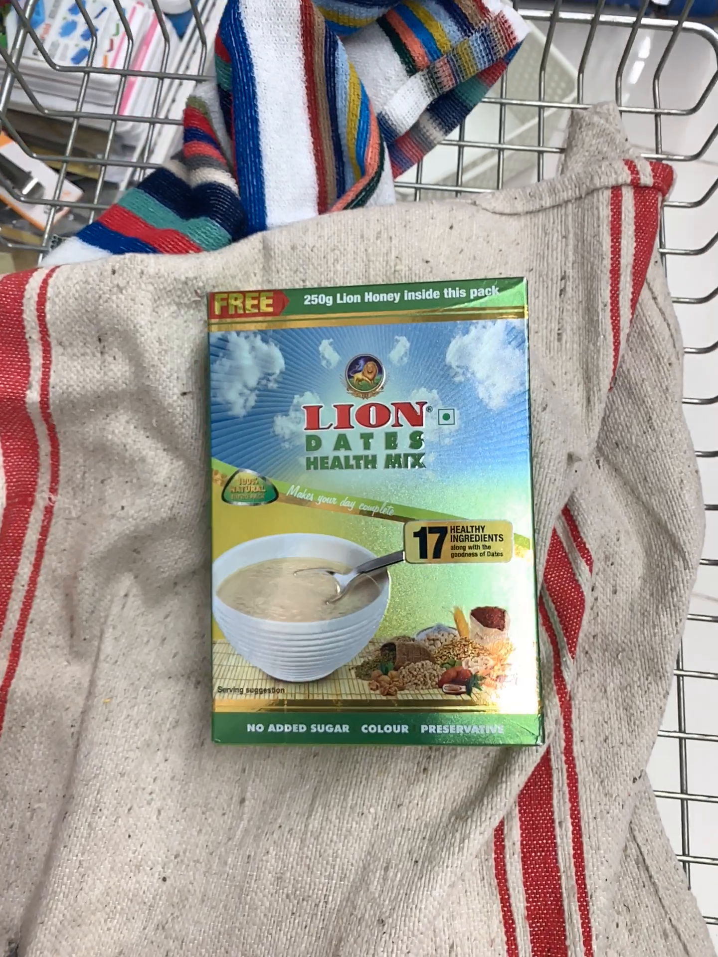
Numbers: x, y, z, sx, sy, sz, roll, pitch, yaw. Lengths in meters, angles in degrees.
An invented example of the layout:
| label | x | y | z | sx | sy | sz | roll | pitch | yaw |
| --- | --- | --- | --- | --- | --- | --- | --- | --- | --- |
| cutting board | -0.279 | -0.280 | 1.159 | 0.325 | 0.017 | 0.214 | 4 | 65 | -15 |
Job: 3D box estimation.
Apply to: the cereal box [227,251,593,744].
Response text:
| label | x | y | z | sx | sy | sz | roll | pitch | yaw |
| --- | --- | --- | --- | --- | --- | --- | --- | --- | --- |
| cereal box | 0.021 | 0.010 | 0.337 | 0.140 | 0.090 | 0.190 | -1 | 87 | 6 |
